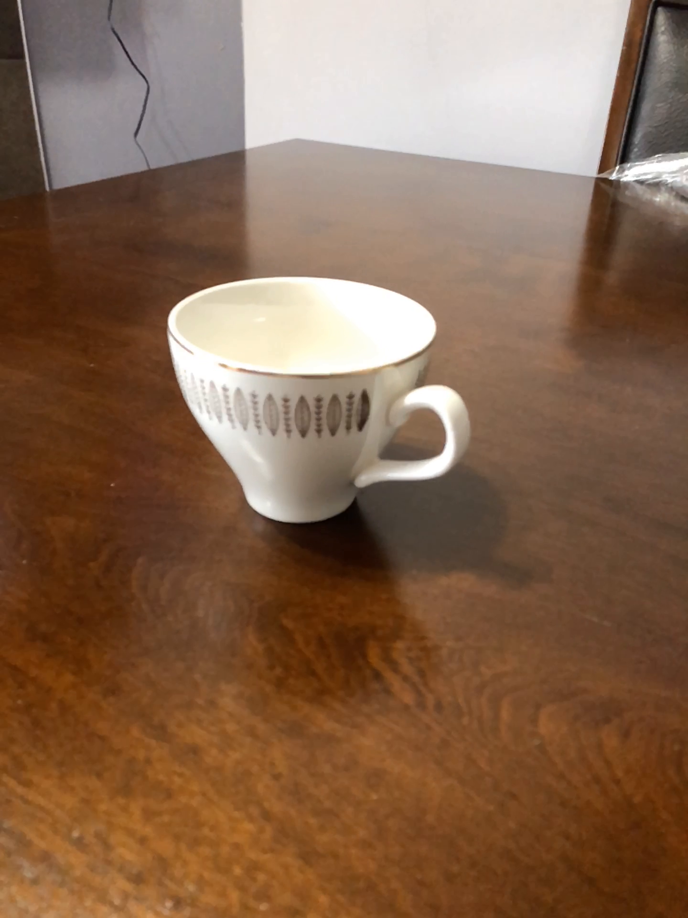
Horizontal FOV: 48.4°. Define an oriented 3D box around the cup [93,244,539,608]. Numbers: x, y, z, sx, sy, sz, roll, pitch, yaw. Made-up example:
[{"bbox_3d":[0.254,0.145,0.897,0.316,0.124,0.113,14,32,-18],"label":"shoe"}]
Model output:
[{"bbox_3d":[-0.007,-0.020,0.245,0.100,0.060,0.090,21,35,26],"label":"cup"}]
